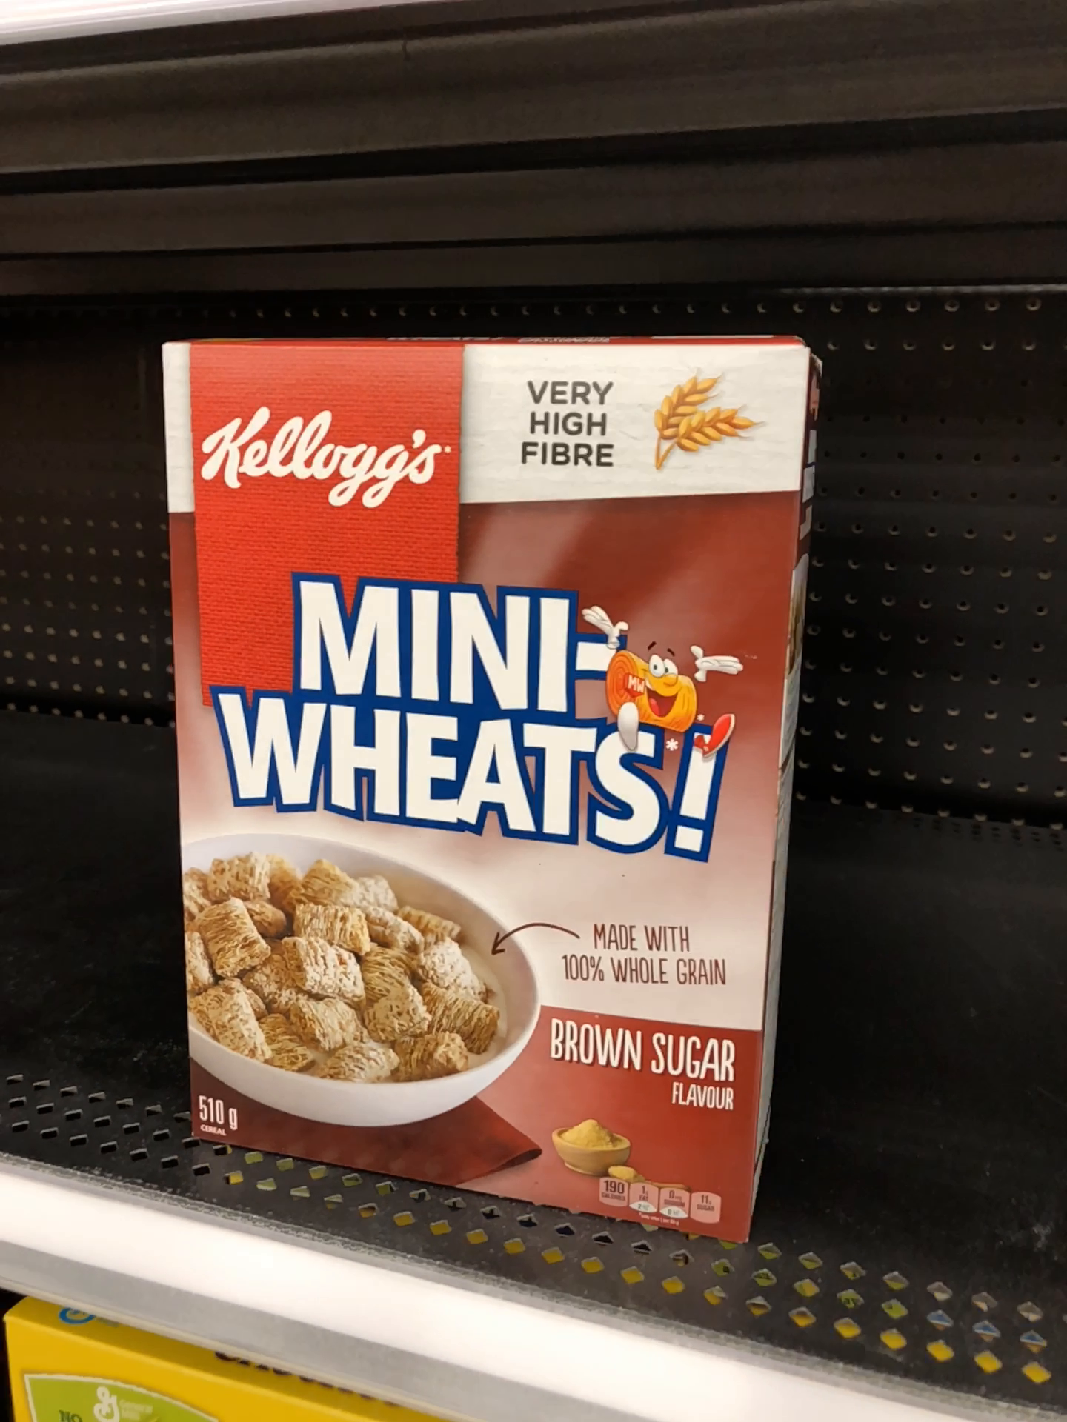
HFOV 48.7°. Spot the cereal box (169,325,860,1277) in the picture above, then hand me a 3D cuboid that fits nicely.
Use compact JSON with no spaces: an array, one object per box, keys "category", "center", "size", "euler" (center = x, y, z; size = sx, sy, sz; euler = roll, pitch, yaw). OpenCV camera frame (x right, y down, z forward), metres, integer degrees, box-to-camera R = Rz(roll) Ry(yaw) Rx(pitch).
[{"category":"cereal box","center":[-0.008,0.023,0.386],"size":[0.200,0.279,0.060],"euler":[5,13,15]}]
